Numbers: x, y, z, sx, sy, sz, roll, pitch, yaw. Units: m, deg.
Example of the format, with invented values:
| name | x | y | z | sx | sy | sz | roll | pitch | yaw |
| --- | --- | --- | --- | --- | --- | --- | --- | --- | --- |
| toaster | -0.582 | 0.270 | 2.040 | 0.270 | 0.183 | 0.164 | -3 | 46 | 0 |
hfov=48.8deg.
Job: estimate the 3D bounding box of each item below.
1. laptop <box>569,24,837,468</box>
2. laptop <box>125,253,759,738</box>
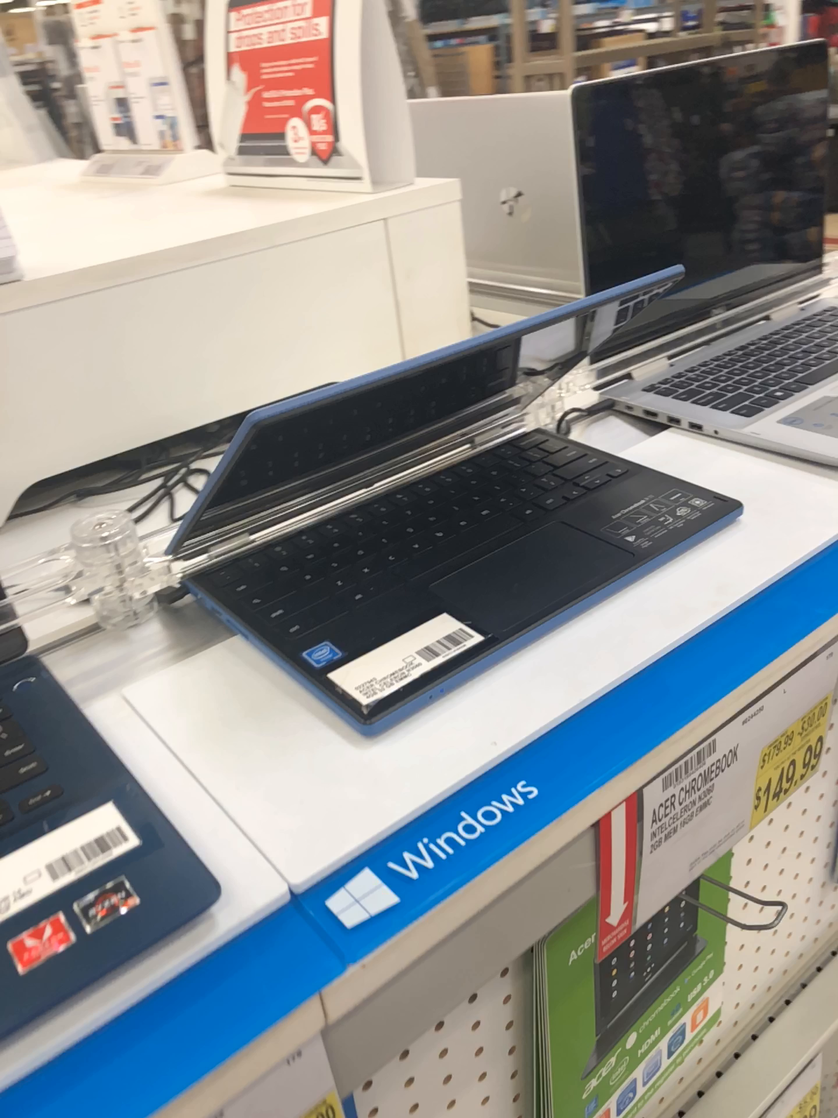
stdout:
| name | x | y | z | sx | sy | sz | roll | pitch | yaw |
| --- | --- | --- | --- | --- | --- | --- | --- | --- | --- |
| laptop | 0.335 | -0.262 | 0.703 | 0.355 | 0.216 | 0.246 | -26 | 35 | -30 |
| laptop | 0.023 | -0.063 | 0.508 | 0.280 | 0.128 | 0.184 | -27 | 36 | -32 |
